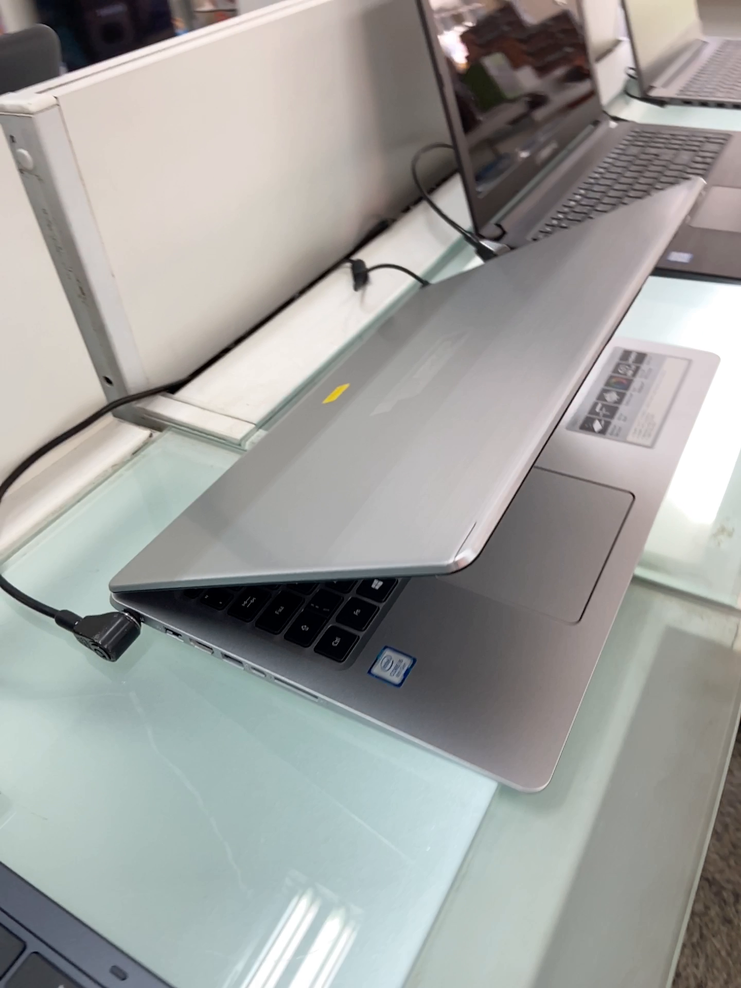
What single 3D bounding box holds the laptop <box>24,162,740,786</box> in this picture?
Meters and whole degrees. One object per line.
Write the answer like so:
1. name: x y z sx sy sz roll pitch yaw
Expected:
1. laptop: 0.043 -0.067 0.443 0.245 0.116 0.366 16 44 25
